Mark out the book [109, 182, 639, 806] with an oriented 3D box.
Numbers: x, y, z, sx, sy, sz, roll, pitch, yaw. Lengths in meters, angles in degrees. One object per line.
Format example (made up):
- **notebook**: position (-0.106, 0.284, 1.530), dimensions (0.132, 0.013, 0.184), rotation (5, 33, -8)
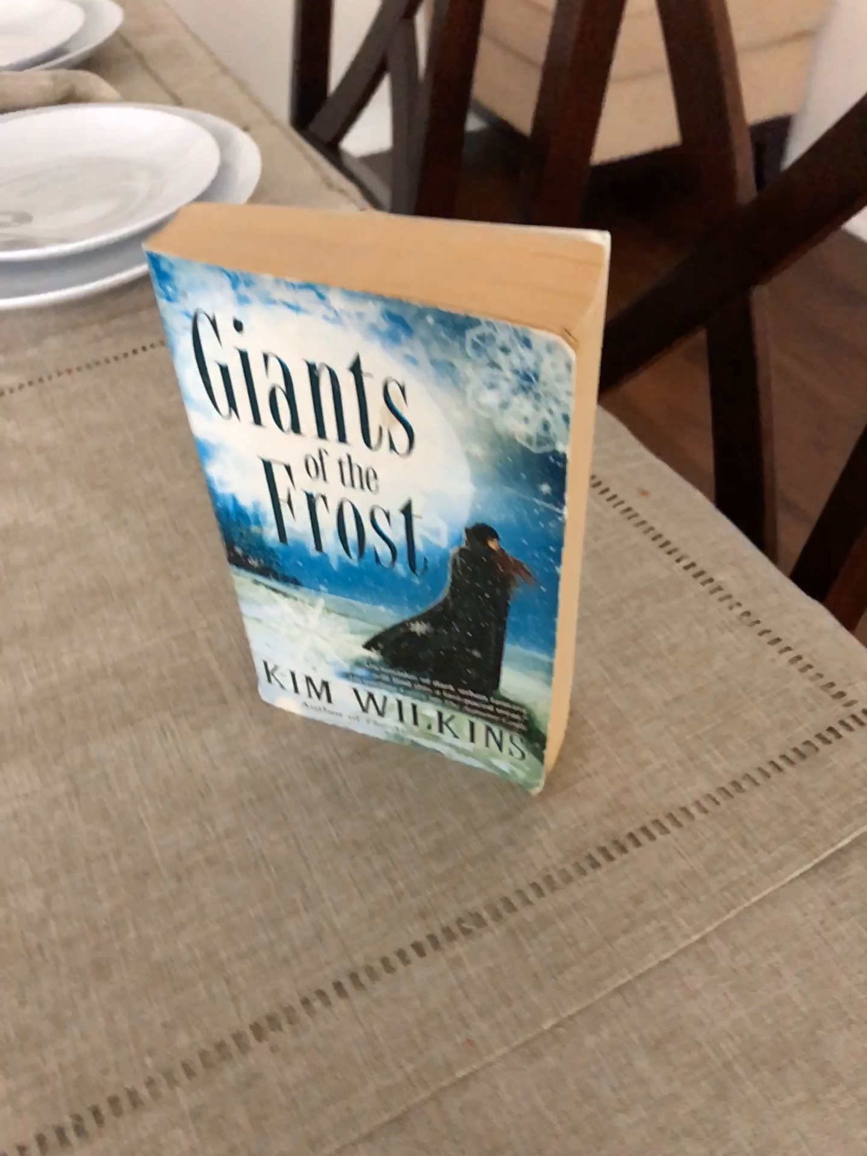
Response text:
- **book**: position (-0.010, -0.015, 0.276), dimensions (0.111, 0.168, 0.043), rotation (13, 47, 16)
